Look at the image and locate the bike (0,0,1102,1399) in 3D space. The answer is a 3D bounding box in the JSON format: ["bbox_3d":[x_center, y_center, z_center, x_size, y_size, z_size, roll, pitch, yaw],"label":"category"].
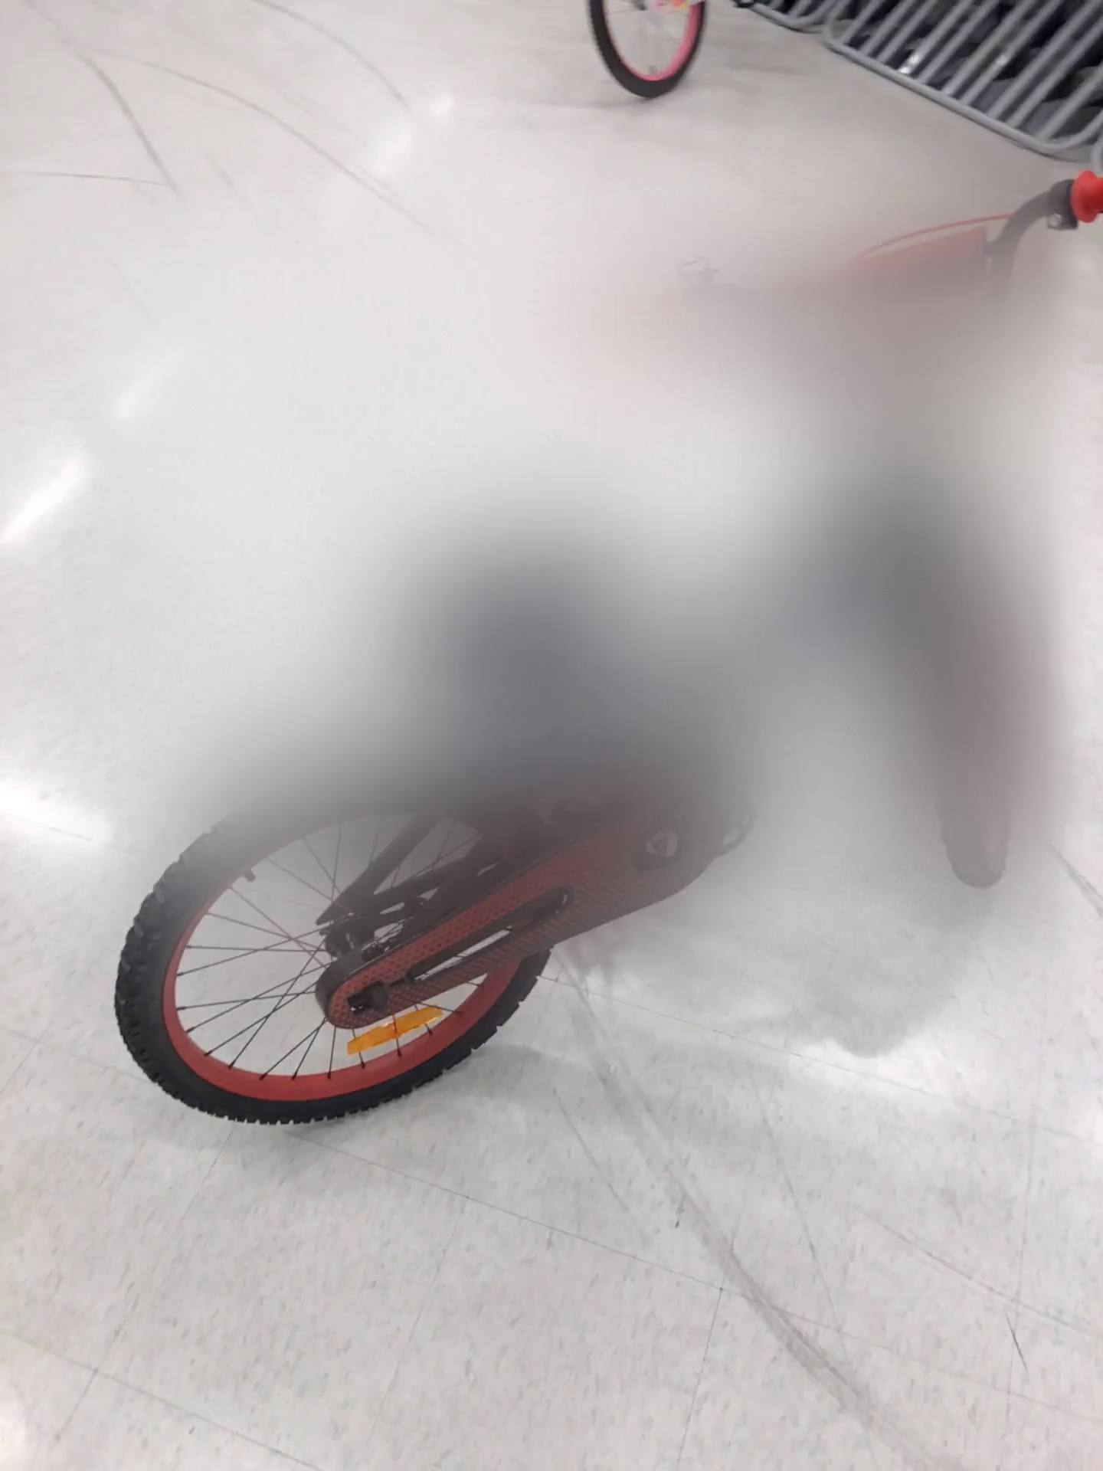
[{"bbox_3d":[0.085,-0.121,1.288,1.248,0.925,0.627,-27,52,-22],"label":"bike"}]
